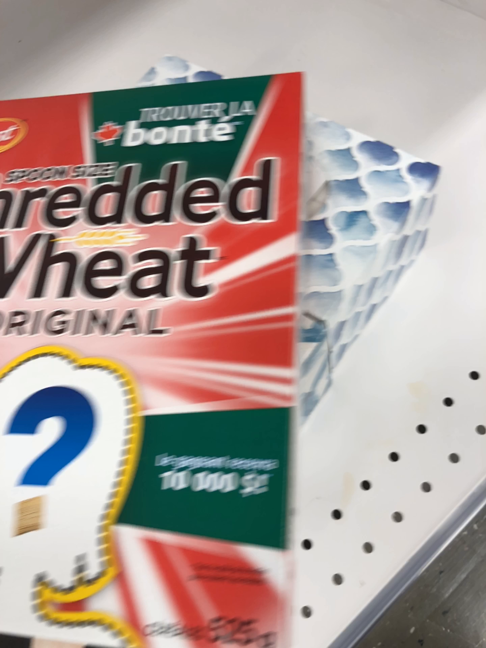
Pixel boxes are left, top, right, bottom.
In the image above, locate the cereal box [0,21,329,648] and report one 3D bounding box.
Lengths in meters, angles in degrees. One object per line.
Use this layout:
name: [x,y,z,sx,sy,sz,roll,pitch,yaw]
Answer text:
cereal box: [-0.079,-0.007,0.256,0.230,0.060,0.280,-1,64,12]
